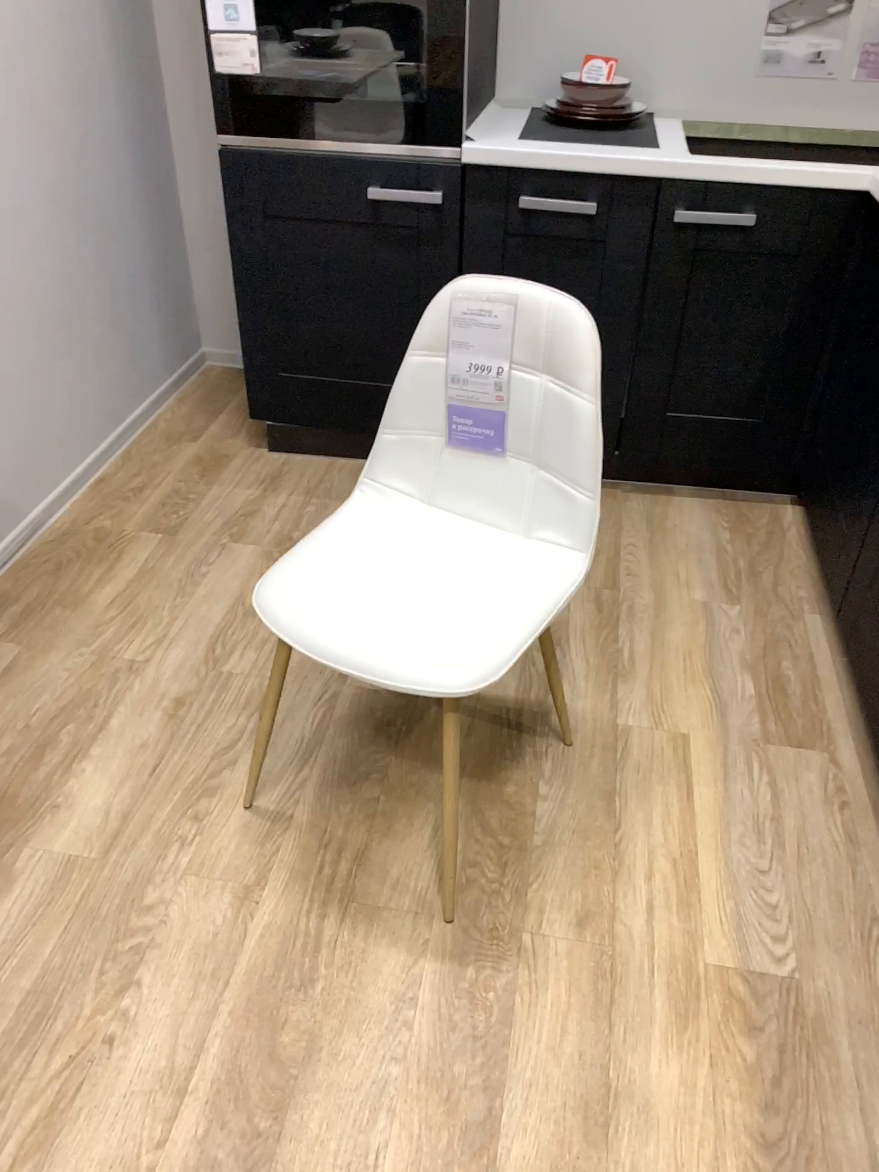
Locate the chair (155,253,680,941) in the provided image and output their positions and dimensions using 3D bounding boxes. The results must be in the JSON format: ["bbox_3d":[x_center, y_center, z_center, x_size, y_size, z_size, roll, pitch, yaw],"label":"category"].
[{"bbox_3d":[-0.009,-0.002,1.449,0.470,0.825,0.573,21,40,24],"label":"chair"}]
